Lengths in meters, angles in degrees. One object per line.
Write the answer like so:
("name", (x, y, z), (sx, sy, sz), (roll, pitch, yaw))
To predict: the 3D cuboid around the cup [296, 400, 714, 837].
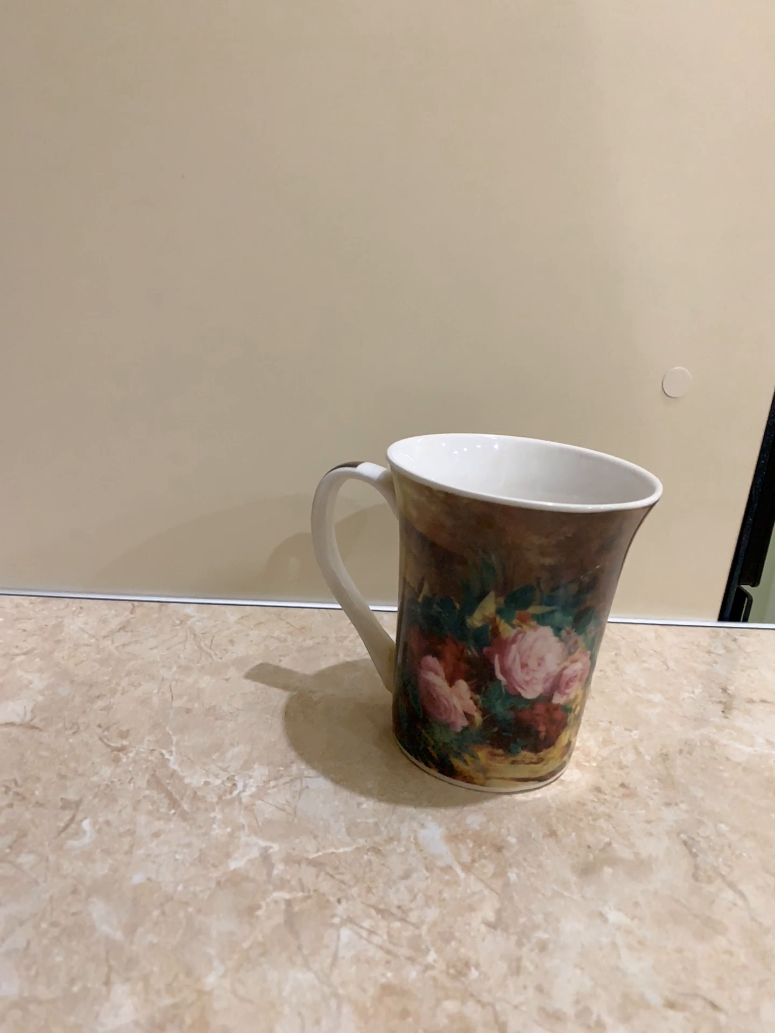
("cup", (0.040, 0.023, 0.277), (0.101, 0.096, 0.094), (5, 20, -2))
